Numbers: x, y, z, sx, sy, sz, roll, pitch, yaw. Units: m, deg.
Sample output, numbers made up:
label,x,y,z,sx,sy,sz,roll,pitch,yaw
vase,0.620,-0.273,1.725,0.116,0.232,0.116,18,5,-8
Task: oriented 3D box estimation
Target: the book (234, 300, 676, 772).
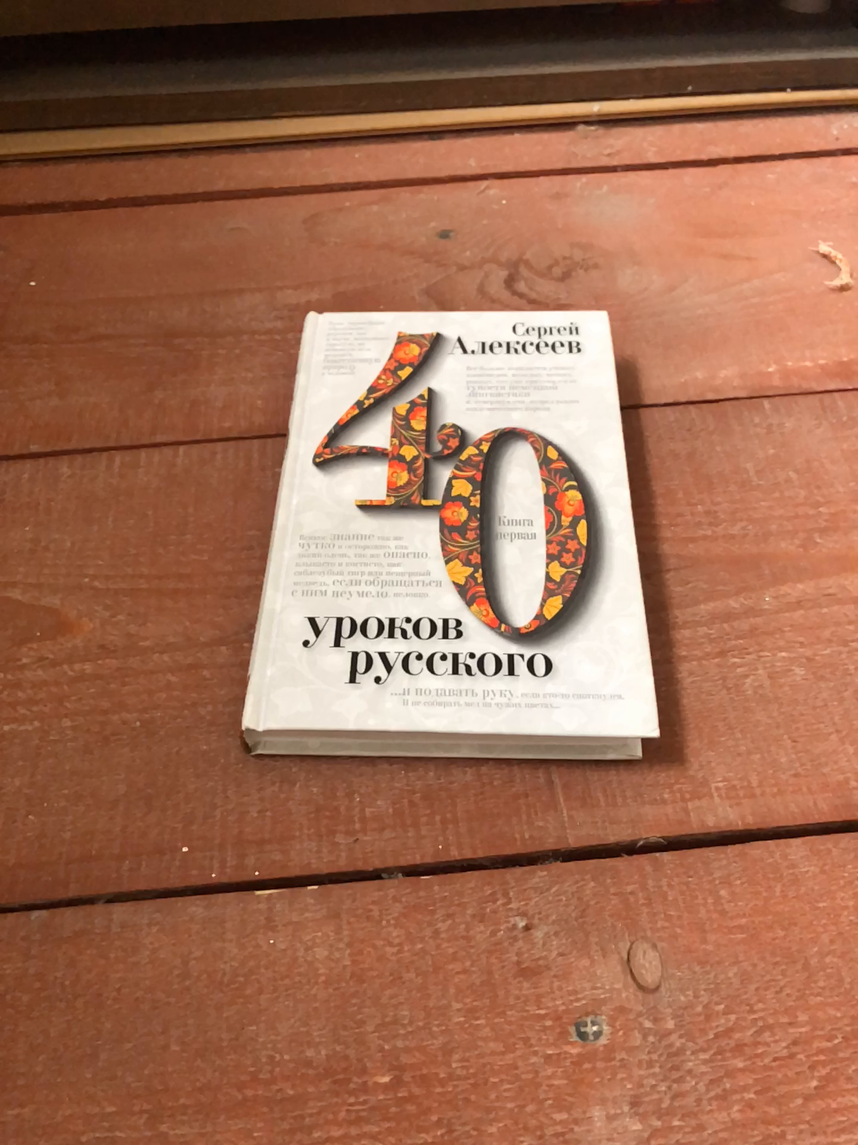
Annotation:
label,x,y,z,sx,sy,sz,roll,pitch,yaw
book,0.010,-0.026,0.362,0.135,0.030,0.201,1,54,2
